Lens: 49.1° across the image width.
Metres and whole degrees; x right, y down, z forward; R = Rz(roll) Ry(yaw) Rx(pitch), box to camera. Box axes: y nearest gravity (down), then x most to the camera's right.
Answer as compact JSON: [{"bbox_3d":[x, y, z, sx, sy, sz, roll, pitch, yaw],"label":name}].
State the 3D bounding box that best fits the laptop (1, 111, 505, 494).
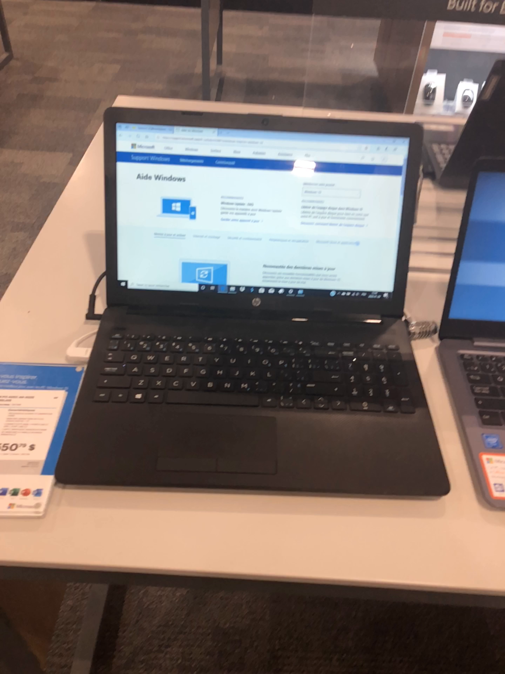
[{"bbox_3d":[0.005,-0.058,0.570,0.356,0.195,0.361,2,43,0],"label":"laptop"}]
